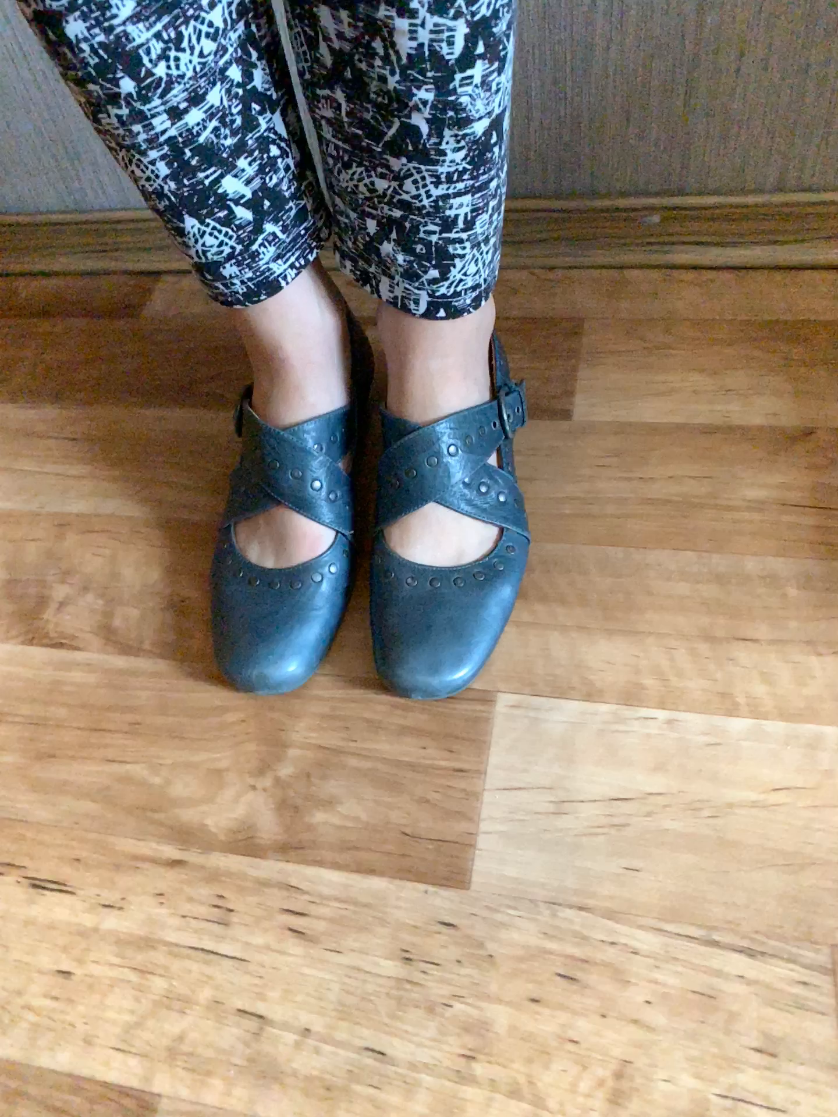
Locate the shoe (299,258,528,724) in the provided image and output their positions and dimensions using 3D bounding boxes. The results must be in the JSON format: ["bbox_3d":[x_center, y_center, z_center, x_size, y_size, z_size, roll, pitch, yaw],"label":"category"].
[{"bbox_3d":[0.011,-0.047,0.474,0.090,0.100,0.251,0,52,9],"label":"shoe"}]

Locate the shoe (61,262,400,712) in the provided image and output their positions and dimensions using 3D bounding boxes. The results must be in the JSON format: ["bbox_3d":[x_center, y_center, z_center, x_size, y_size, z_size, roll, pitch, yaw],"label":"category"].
[{"bbox_3d":[-0.085,-0.050,0.477,0.090,0.100,0.241,4,53,12],"label":"shoe"}]
